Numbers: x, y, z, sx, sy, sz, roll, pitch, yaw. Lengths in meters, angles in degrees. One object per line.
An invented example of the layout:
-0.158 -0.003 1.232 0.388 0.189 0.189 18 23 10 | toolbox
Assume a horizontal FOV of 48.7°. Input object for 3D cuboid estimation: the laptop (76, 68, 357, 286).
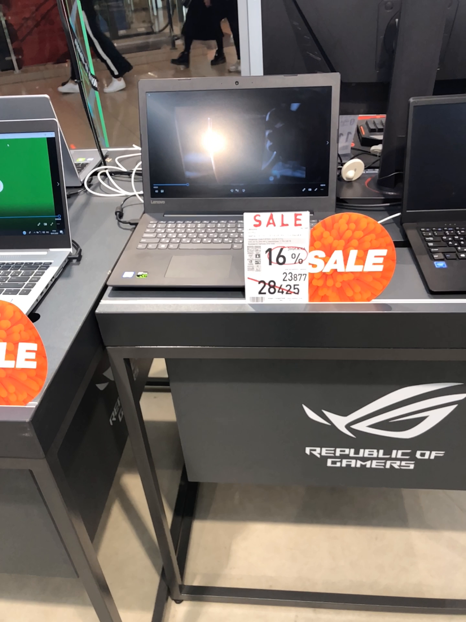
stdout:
-0.002 -0.243 0.890 0.382 0.235 0.336 1 37 8 | laptop
